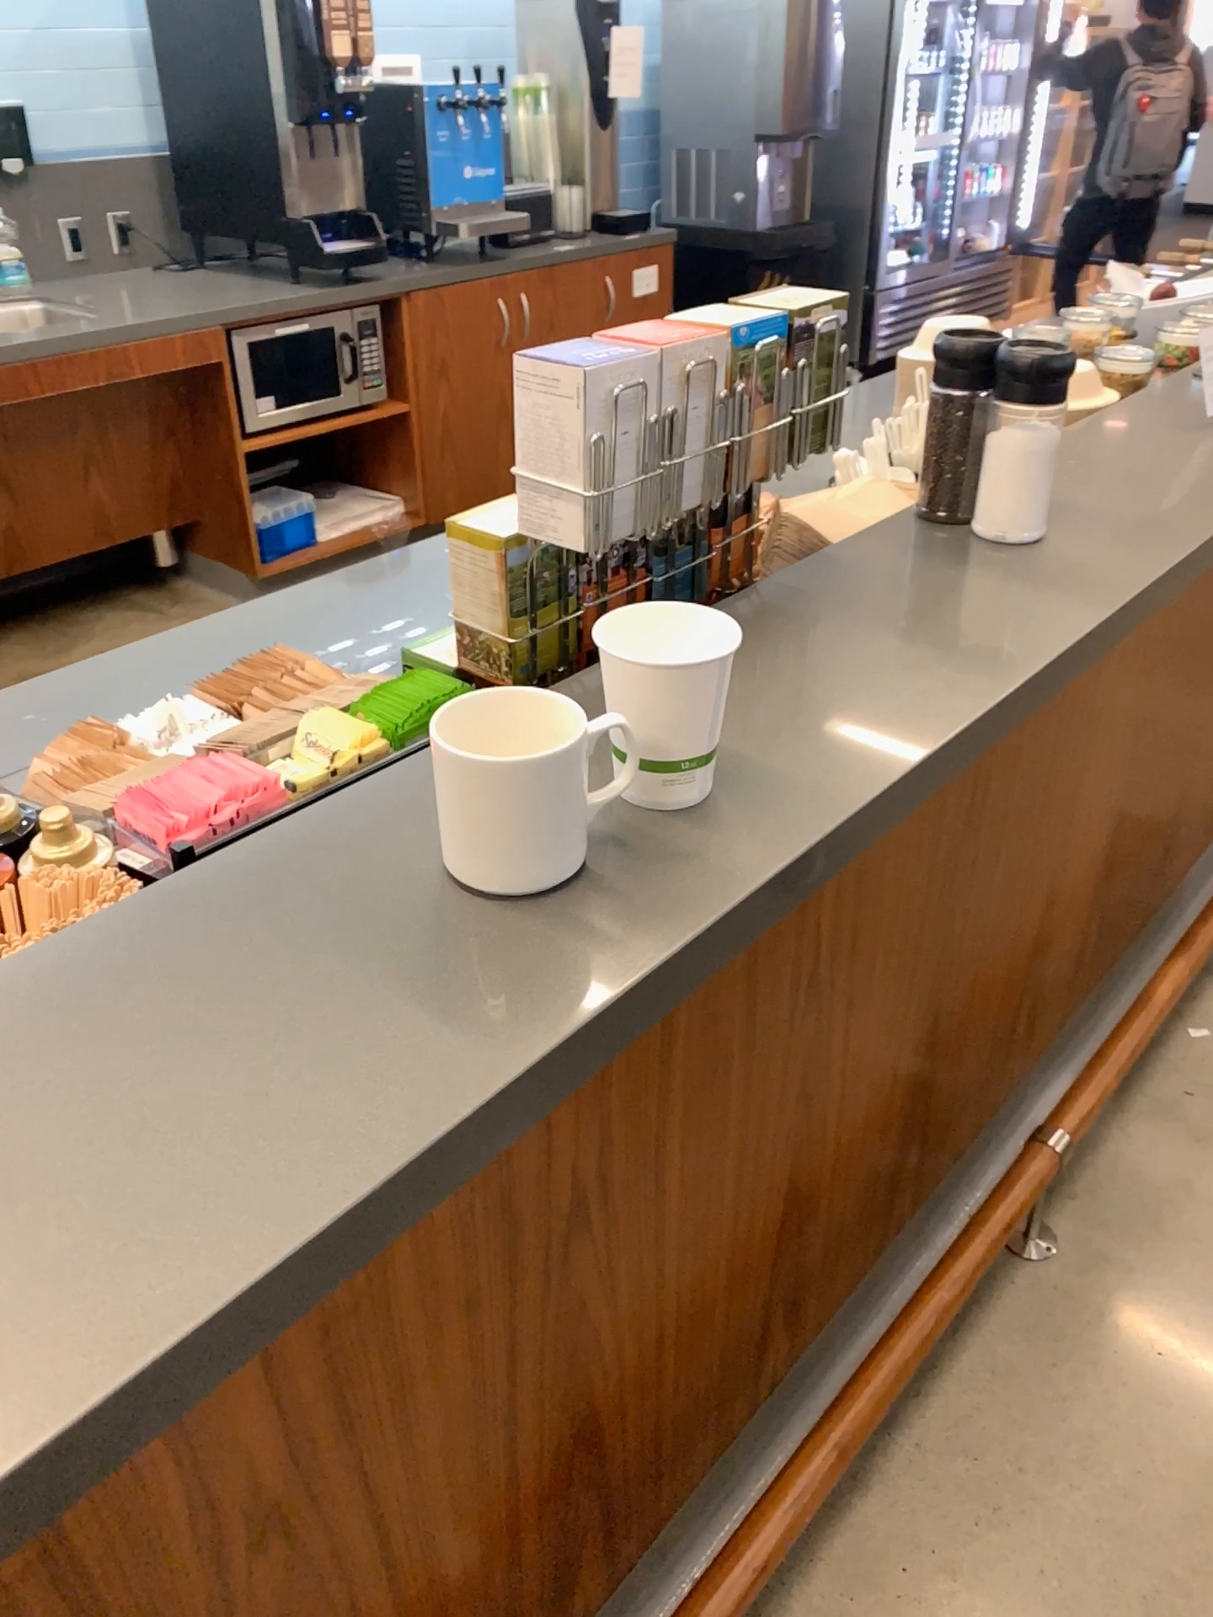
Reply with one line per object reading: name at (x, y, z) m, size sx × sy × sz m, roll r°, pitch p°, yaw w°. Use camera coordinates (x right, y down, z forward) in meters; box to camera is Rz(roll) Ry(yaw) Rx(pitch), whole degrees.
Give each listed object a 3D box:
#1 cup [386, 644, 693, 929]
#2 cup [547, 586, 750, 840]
cup at (-0.035, -0.016, 0.658) m, size 0.130 × 0.089 × 0.091 m, roll -17°, pitch 35°, yaw -24°
cup at (0.026, -0.060, 0.753) m, size 0.080 × 0.109 × 0.090 m, roll 23°, pitch 39°, yaw 32°
